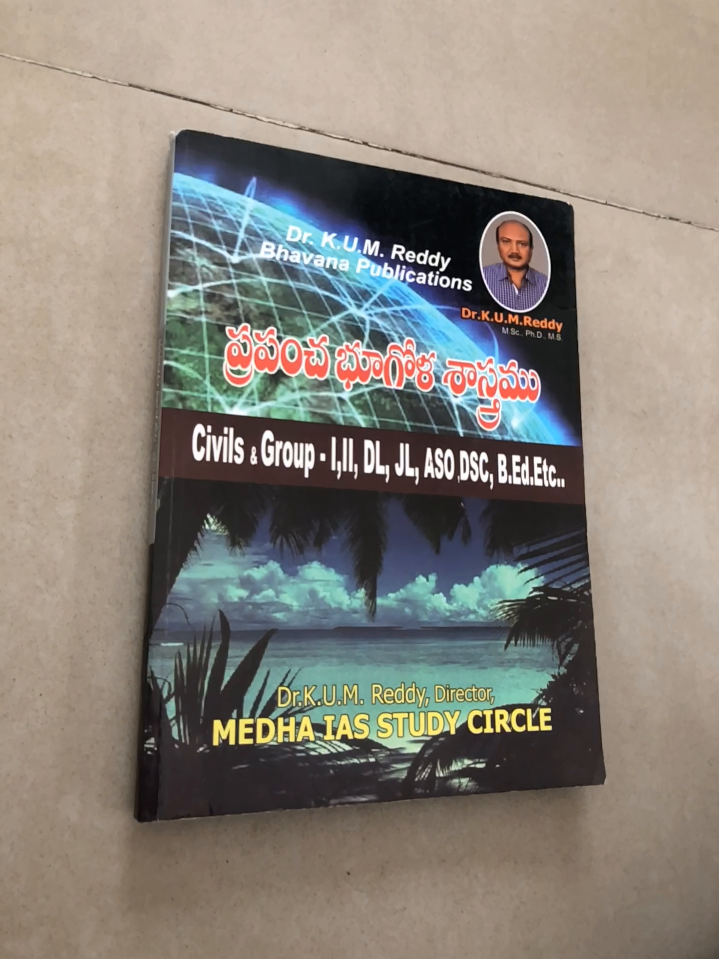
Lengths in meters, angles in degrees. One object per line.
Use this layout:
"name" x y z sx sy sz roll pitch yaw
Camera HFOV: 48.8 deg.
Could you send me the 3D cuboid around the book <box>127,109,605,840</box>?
"book" 0.007 -0.005 0.321 0.180 0.030 0.260 3 79 -20
